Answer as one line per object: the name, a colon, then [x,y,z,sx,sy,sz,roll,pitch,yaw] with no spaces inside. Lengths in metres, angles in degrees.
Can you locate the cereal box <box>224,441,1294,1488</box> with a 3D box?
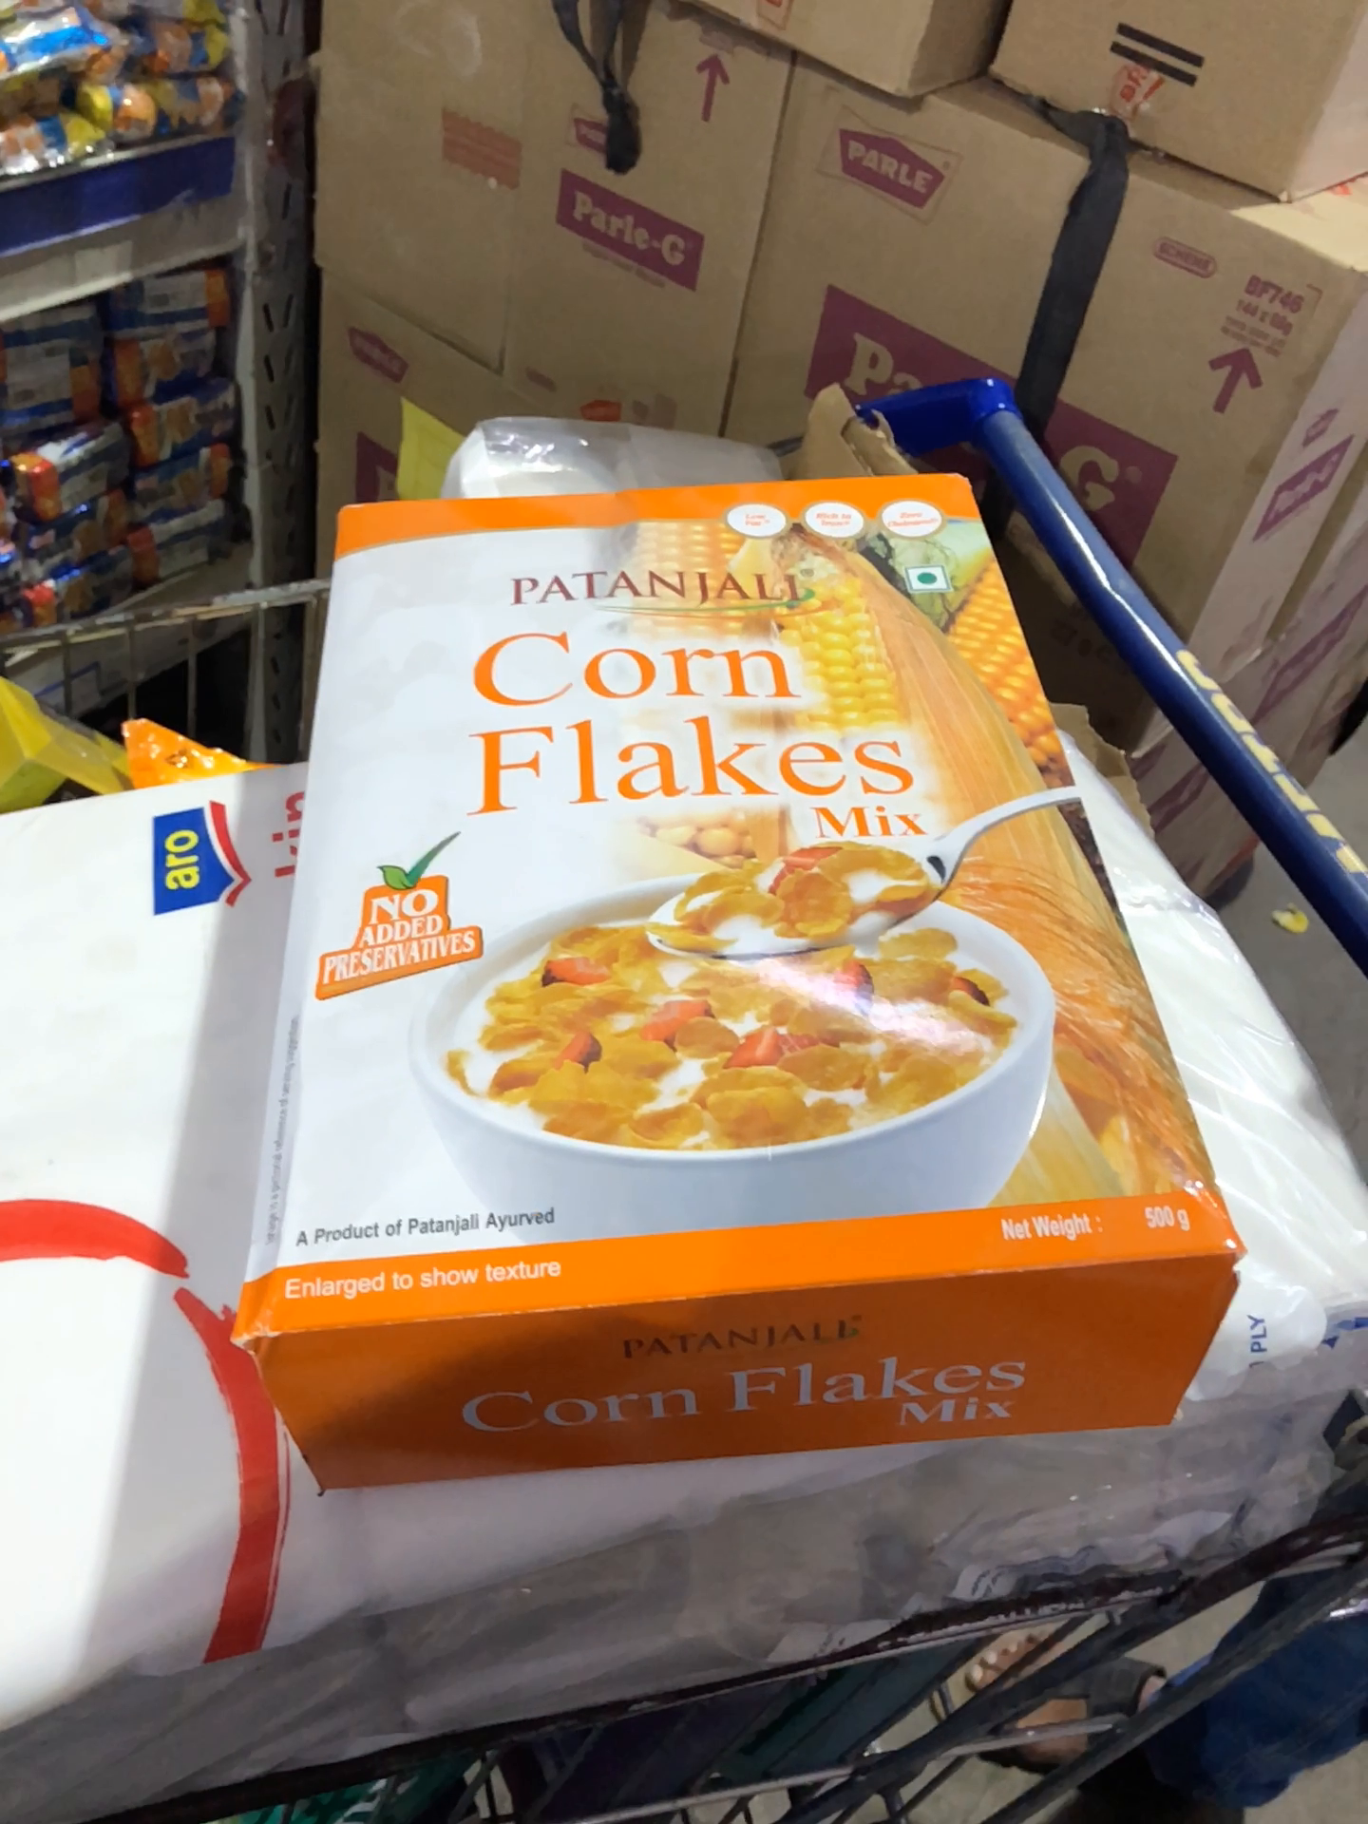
cereal box: [0.003,-0.008,0.397,0.200,0.080,0.272,-3,50,-4]
